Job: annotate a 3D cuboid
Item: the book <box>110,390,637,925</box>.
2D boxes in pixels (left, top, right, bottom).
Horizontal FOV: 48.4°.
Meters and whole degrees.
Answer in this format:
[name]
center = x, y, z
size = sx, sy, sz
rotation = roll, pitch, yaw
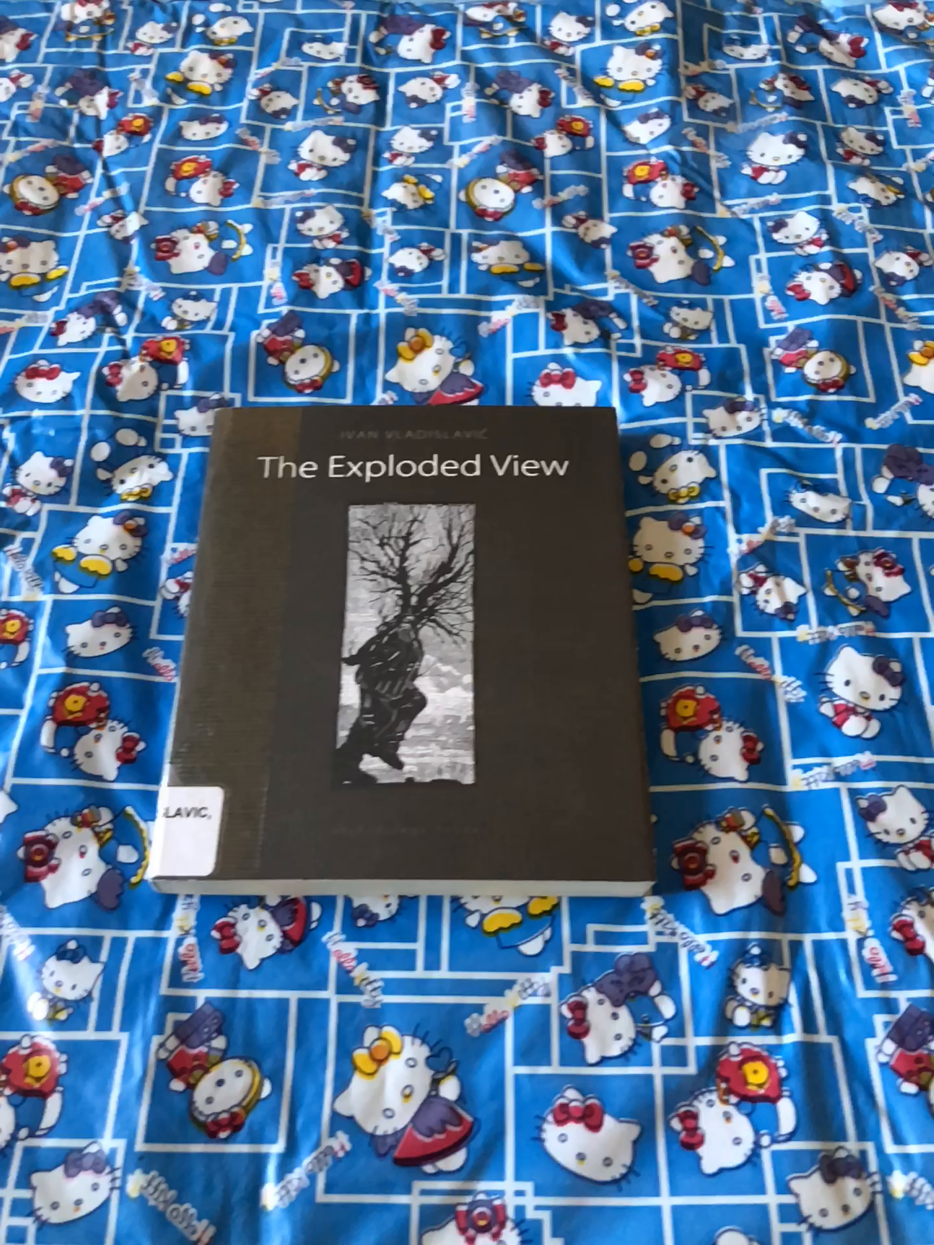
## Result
[book]
center = -0.024, 0.004, 0.321
size = 0.140, 0.020, 0.170
rotation = 1, 65, 0
